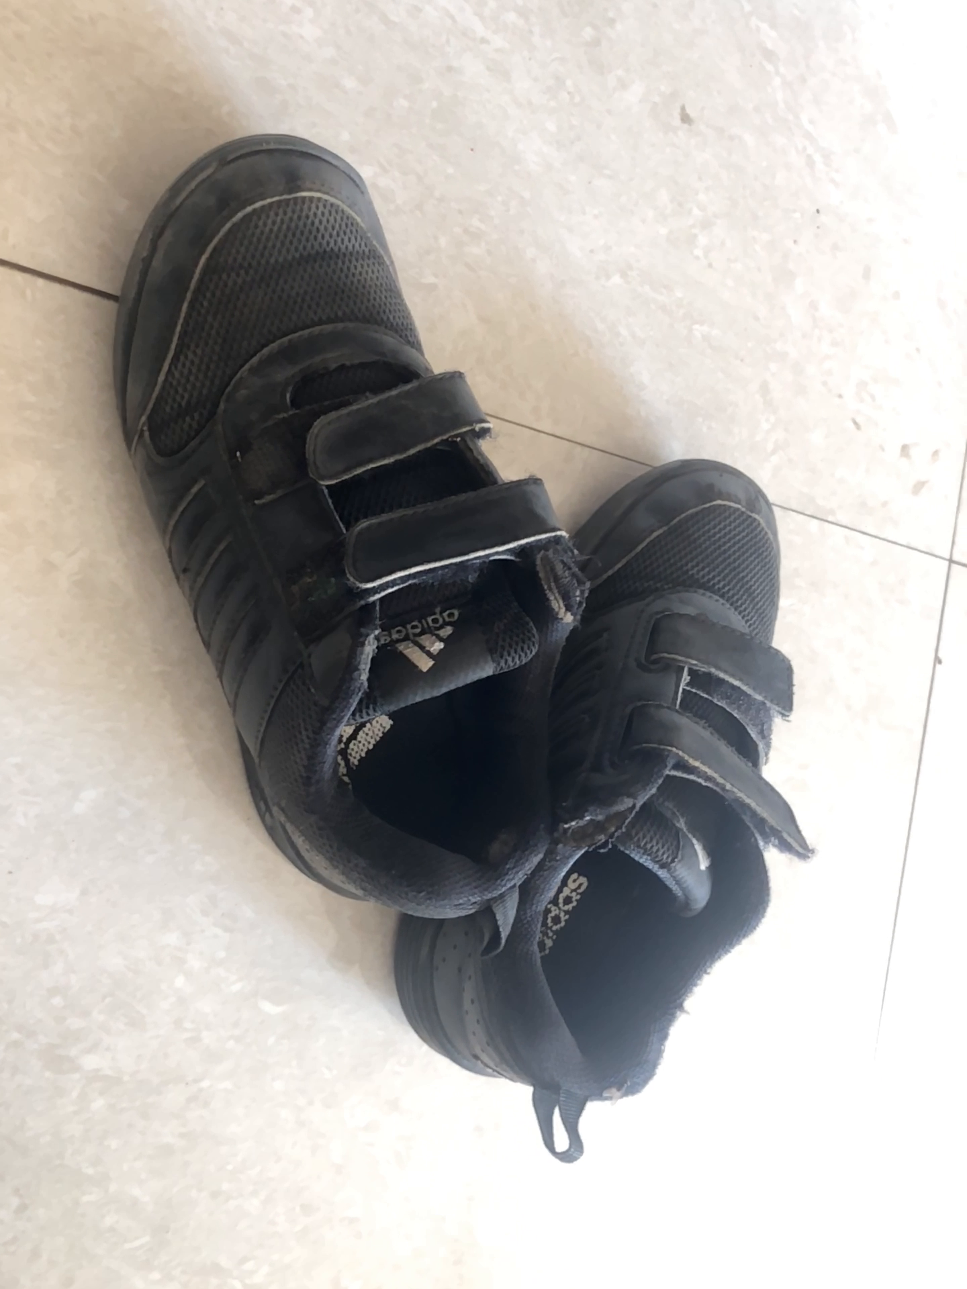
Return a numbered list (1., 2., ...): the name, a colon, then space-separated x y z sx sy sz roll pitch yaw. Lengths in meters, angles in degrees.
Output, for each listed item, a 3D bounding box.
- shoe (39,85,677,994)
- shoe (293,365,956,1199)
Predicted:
1. shoe: -0.033 -0.029 0.295 0.100 0.080 0.200 -21 102 -27
2. shoe: 0.047 0.038 0.353 0.100 0.100 0.220 31 77 -26
